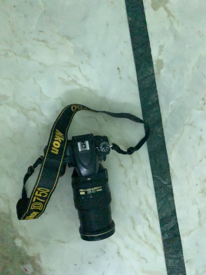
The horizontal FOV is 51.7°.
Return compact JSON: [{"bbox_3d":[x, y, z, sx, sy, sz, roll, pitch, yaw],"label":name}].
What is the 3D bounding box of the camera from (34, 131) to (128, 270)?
[{"bbox_3d":[-0.044,0.116,0.443,0.139,0.100,0.232,-9,89,-4],"label":"camera"}]
